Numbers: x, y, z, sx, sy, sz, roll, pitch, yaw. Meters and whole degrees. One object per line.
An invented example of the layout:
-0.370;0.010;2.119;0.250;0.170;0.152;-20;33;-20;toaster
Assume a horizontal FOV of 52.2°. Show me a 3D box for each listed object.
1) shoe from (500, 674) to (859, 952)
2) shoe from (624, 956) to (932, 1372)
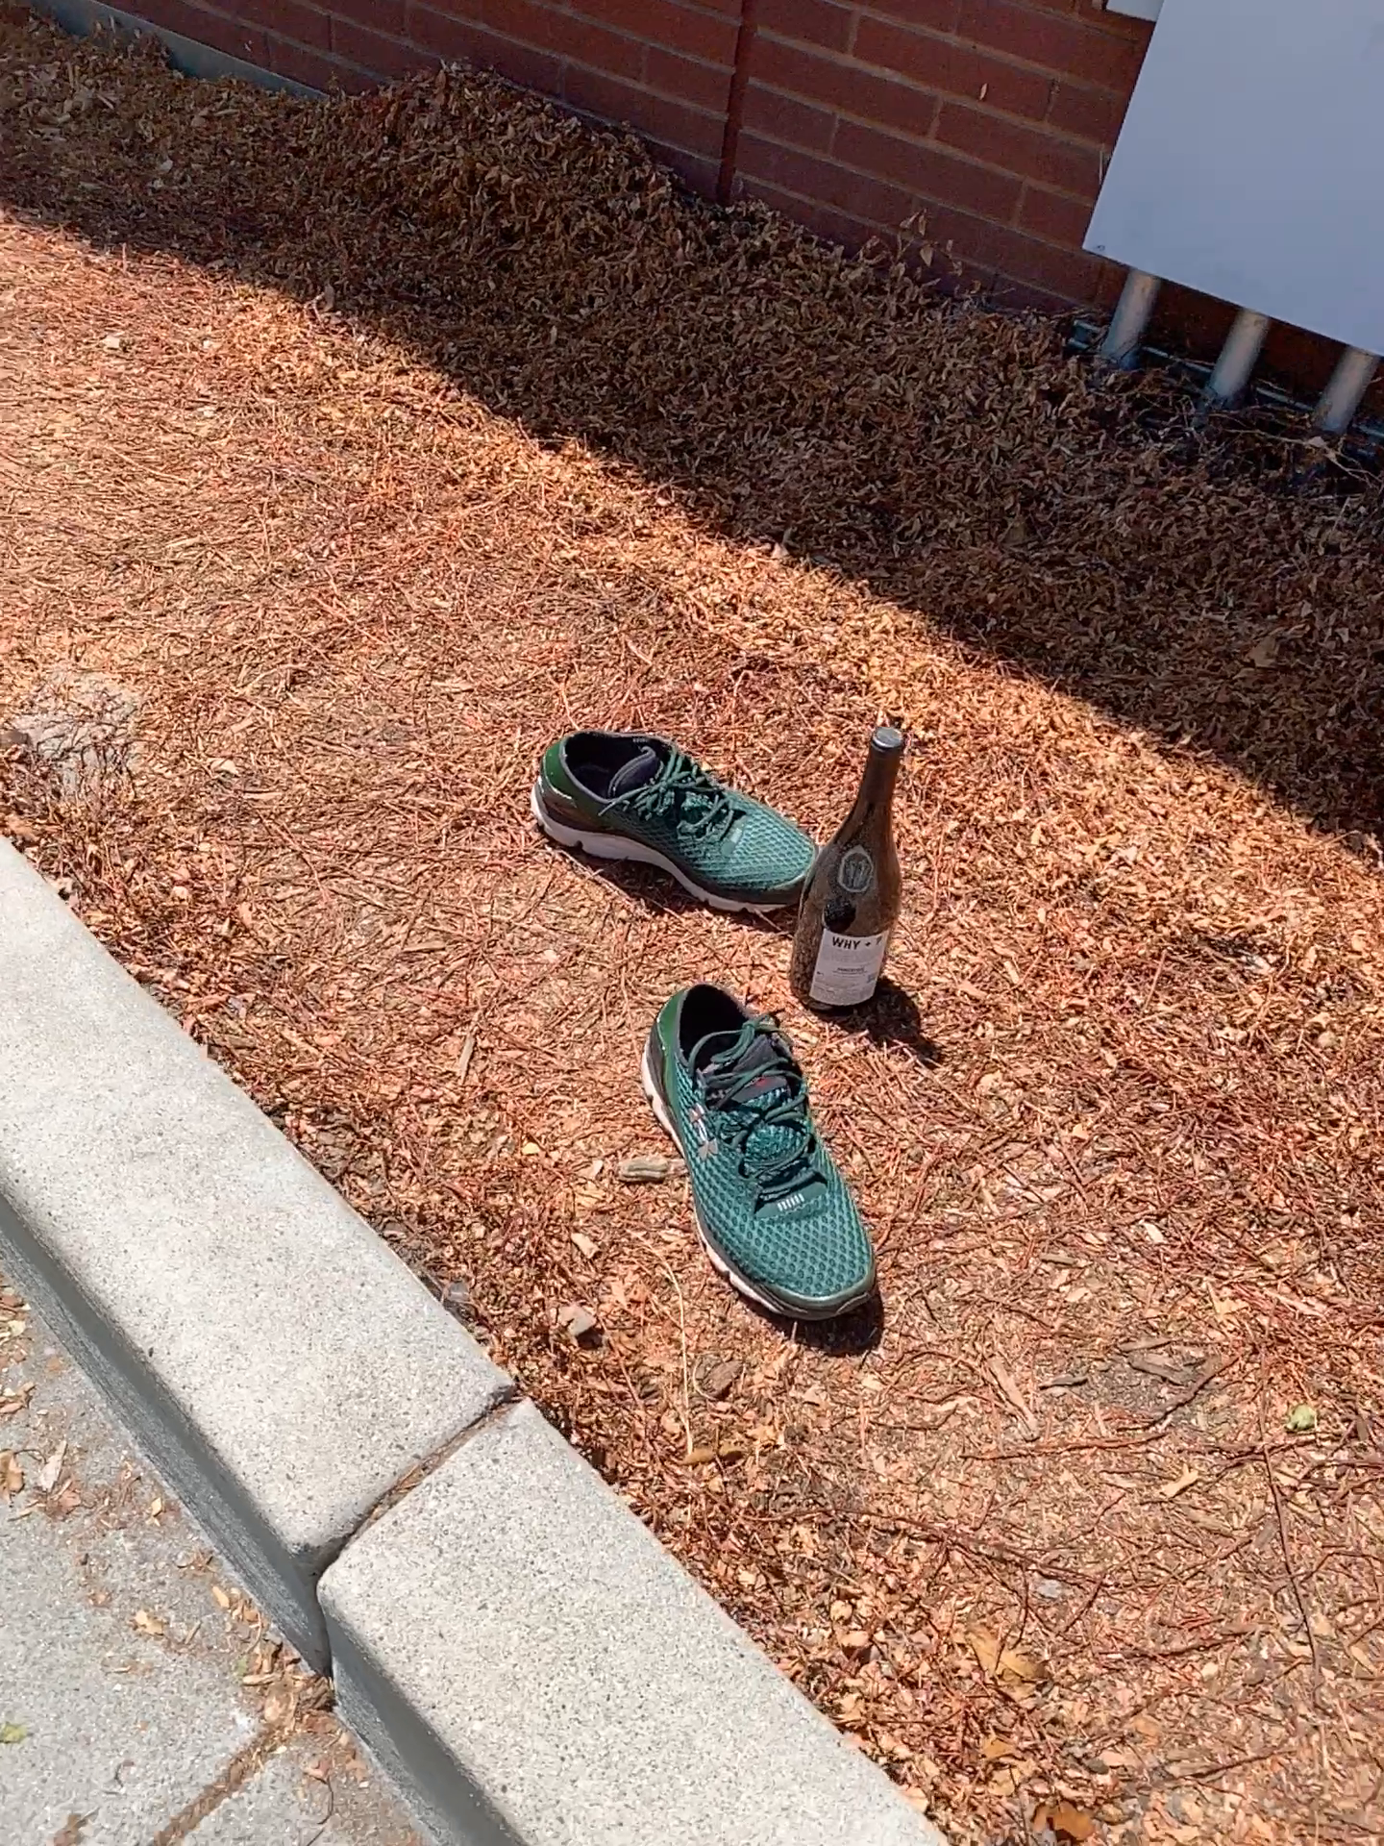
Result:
-0.015;-0.105;1.307;0.300;0.099;0.121;24;50;11;shoe
0.056;0.178;1.102;0.120;0.099;0.291;-12;52;-19;shoe
